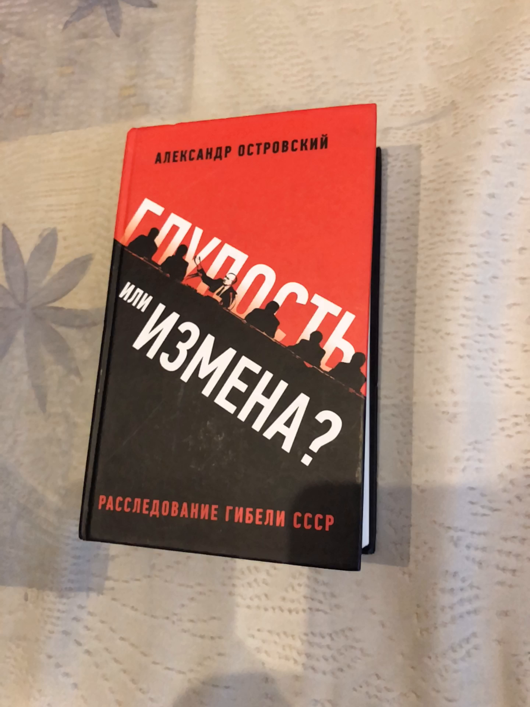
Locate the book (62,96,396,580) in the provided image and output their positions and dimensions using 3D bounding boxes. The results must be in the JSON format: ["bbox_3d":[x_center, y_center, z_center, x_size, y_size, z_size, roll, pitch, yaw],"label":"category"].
[{"bbox_3d":[-0.010,-0.010,0.279,0.135,0.050,0.200,0,78,16],"label":"book"}]
